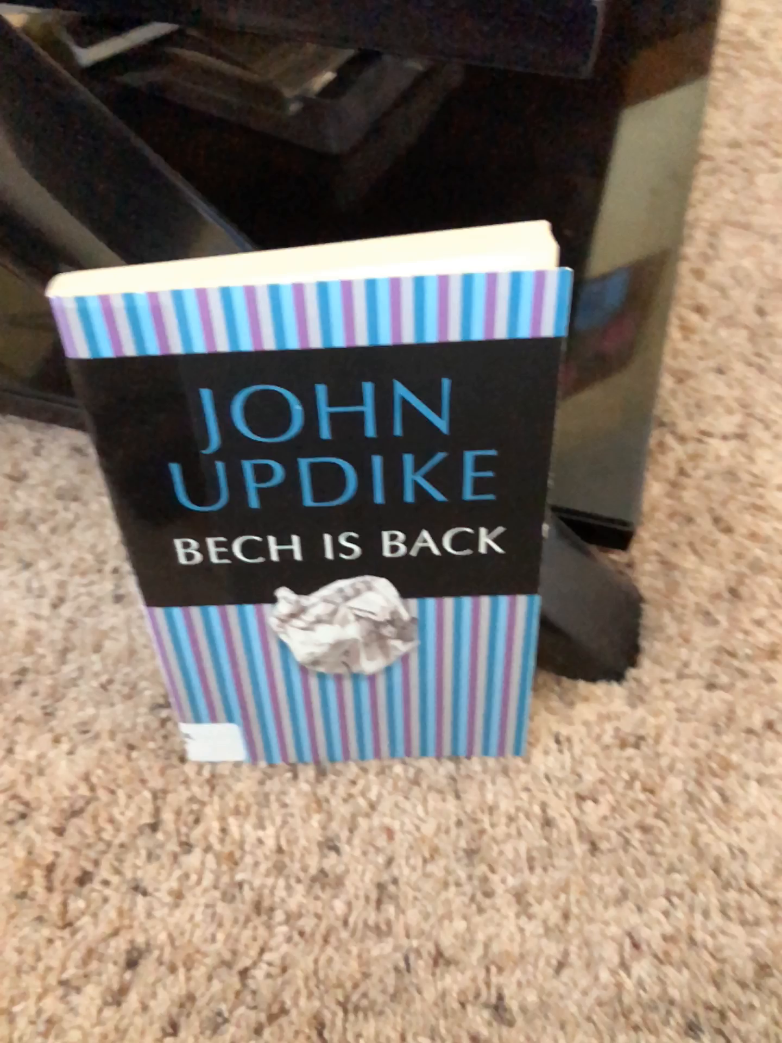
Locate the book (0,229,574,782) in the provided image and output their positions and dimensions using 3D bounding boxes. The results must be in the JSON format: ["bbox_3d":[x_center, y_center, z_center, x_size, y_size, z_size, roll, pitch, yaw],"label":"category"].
[{"bbox_3d":[-0.021,0.014,0.279,0.135,0.201,0.030,-4,44,1],"label":"book"}]
